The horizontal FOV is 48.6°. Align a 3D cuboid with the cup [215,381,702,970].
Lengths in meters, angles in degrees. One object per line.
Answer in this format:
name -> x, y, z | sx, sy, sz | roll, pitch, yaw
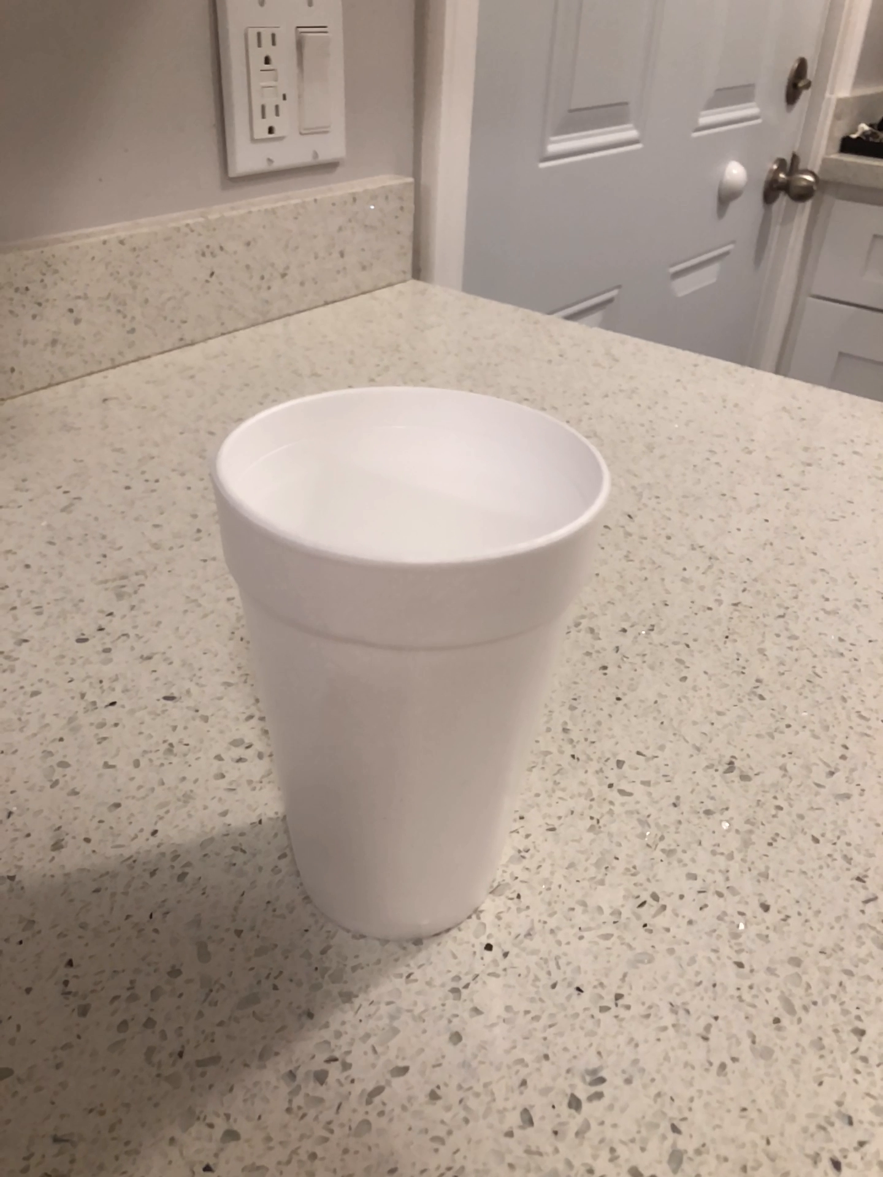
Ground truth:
cup -> -0.001, 0.021, 0.249 | 0.090, 0.118, 0.088 | 2, 33, -1
